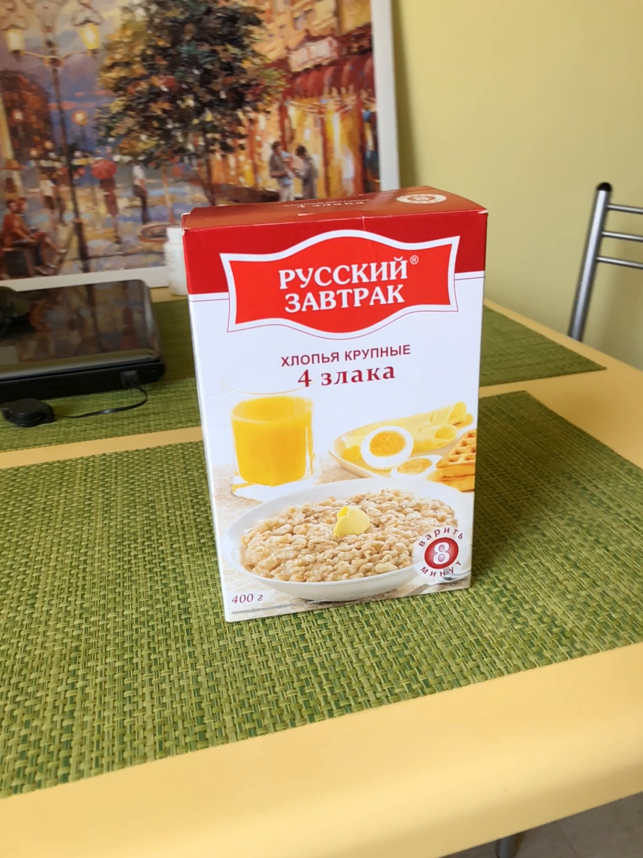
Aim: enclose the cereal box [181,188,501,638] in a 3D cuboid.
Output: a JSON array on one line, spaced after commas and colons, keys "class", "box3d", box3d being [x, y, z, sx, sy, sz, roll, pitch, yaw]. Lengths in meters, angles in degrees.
[{"class": "cereal box", "box3d": [0.007, -0.009, 0.351, 0.130, 0.199, 0.070, -6, 23, -9]}]
